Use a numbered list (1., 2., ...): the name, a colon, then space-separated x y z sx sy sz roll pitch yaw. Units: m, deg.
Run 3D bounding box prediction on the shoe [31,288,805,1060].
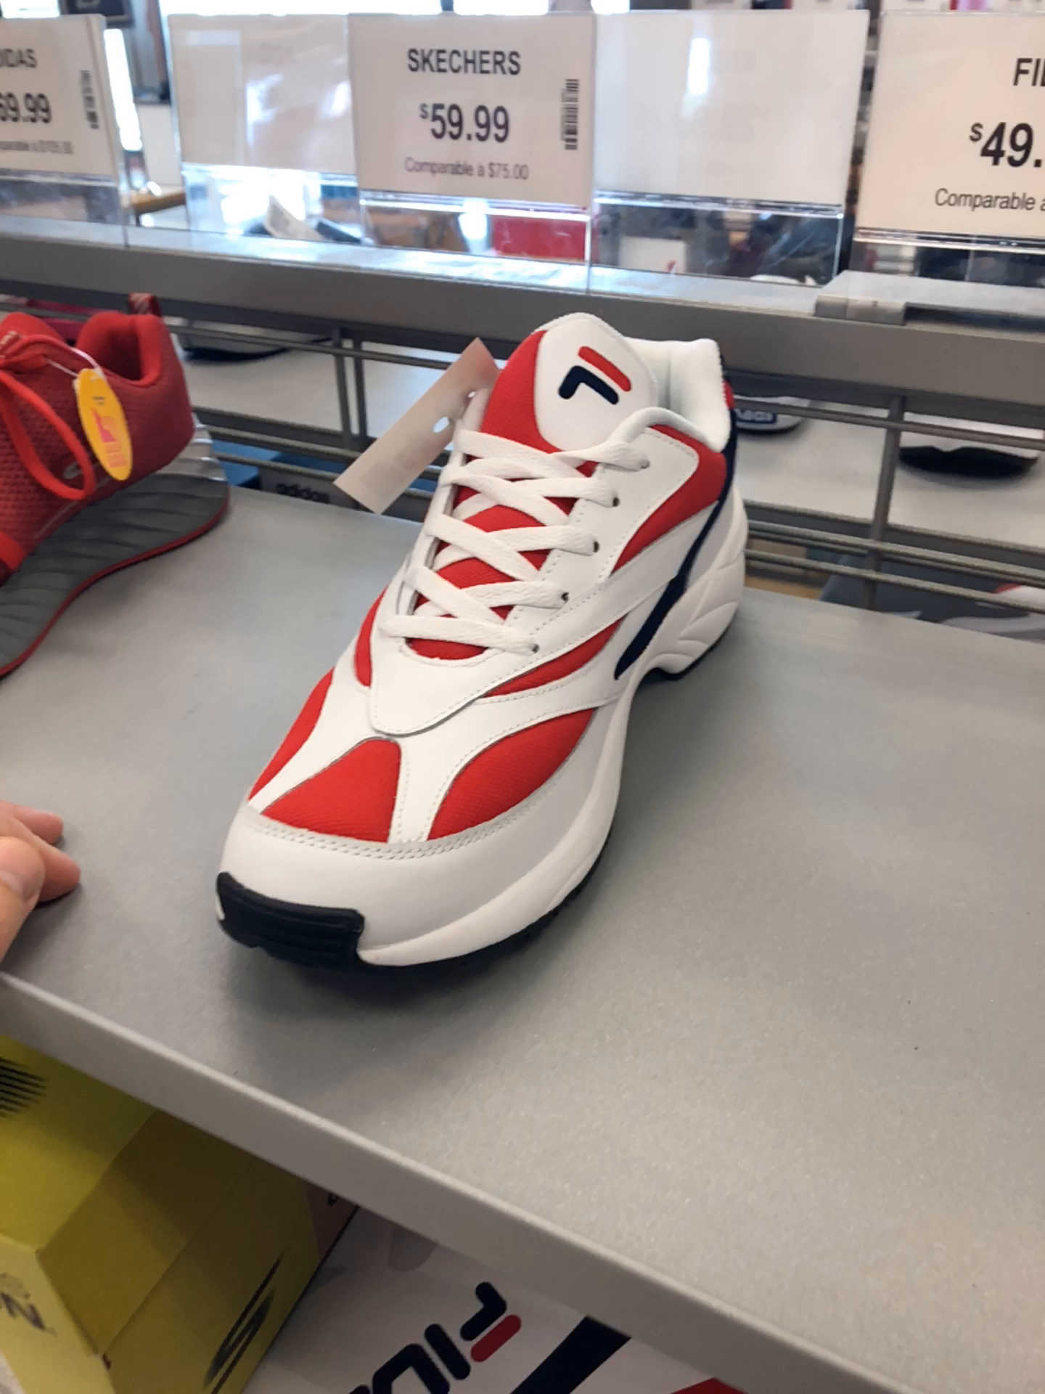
1. shoe: -0.005 -0.039 0.396 0.120 0.129 0.272 14 35 23
